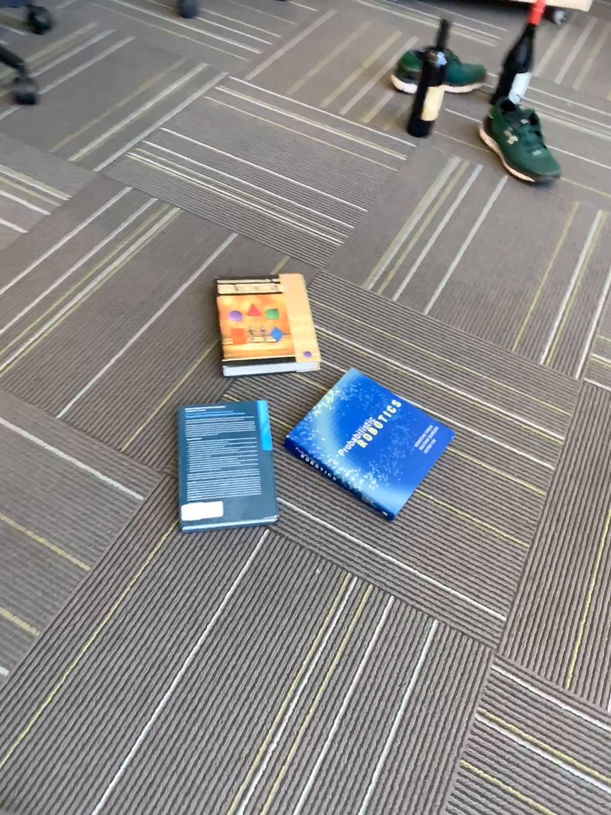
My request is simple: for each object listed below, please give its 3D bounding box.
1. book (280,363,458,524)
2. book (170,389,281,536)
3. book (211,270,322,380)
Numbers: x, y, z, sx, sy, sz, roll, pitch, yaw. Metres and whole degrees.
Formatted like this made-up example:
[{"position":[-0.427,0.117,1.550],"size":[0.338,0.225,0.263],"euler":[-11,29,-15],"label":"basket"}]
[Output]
[{"position":[0.114,0.056,1.123],"size":[0.246,0.040,0.205],"euler":[33,58,17],"label":"book"},{"position":[-0.141,0.087,1.068],"size":[0.170,0.040,0.248],"euler":[-3,58,-9],"label":"book"},{"position":[-0.083,-0.170,1.244],"size":[0.191,0.040,0.248],"euler":[-4,55,-9],"label":"book"}]
